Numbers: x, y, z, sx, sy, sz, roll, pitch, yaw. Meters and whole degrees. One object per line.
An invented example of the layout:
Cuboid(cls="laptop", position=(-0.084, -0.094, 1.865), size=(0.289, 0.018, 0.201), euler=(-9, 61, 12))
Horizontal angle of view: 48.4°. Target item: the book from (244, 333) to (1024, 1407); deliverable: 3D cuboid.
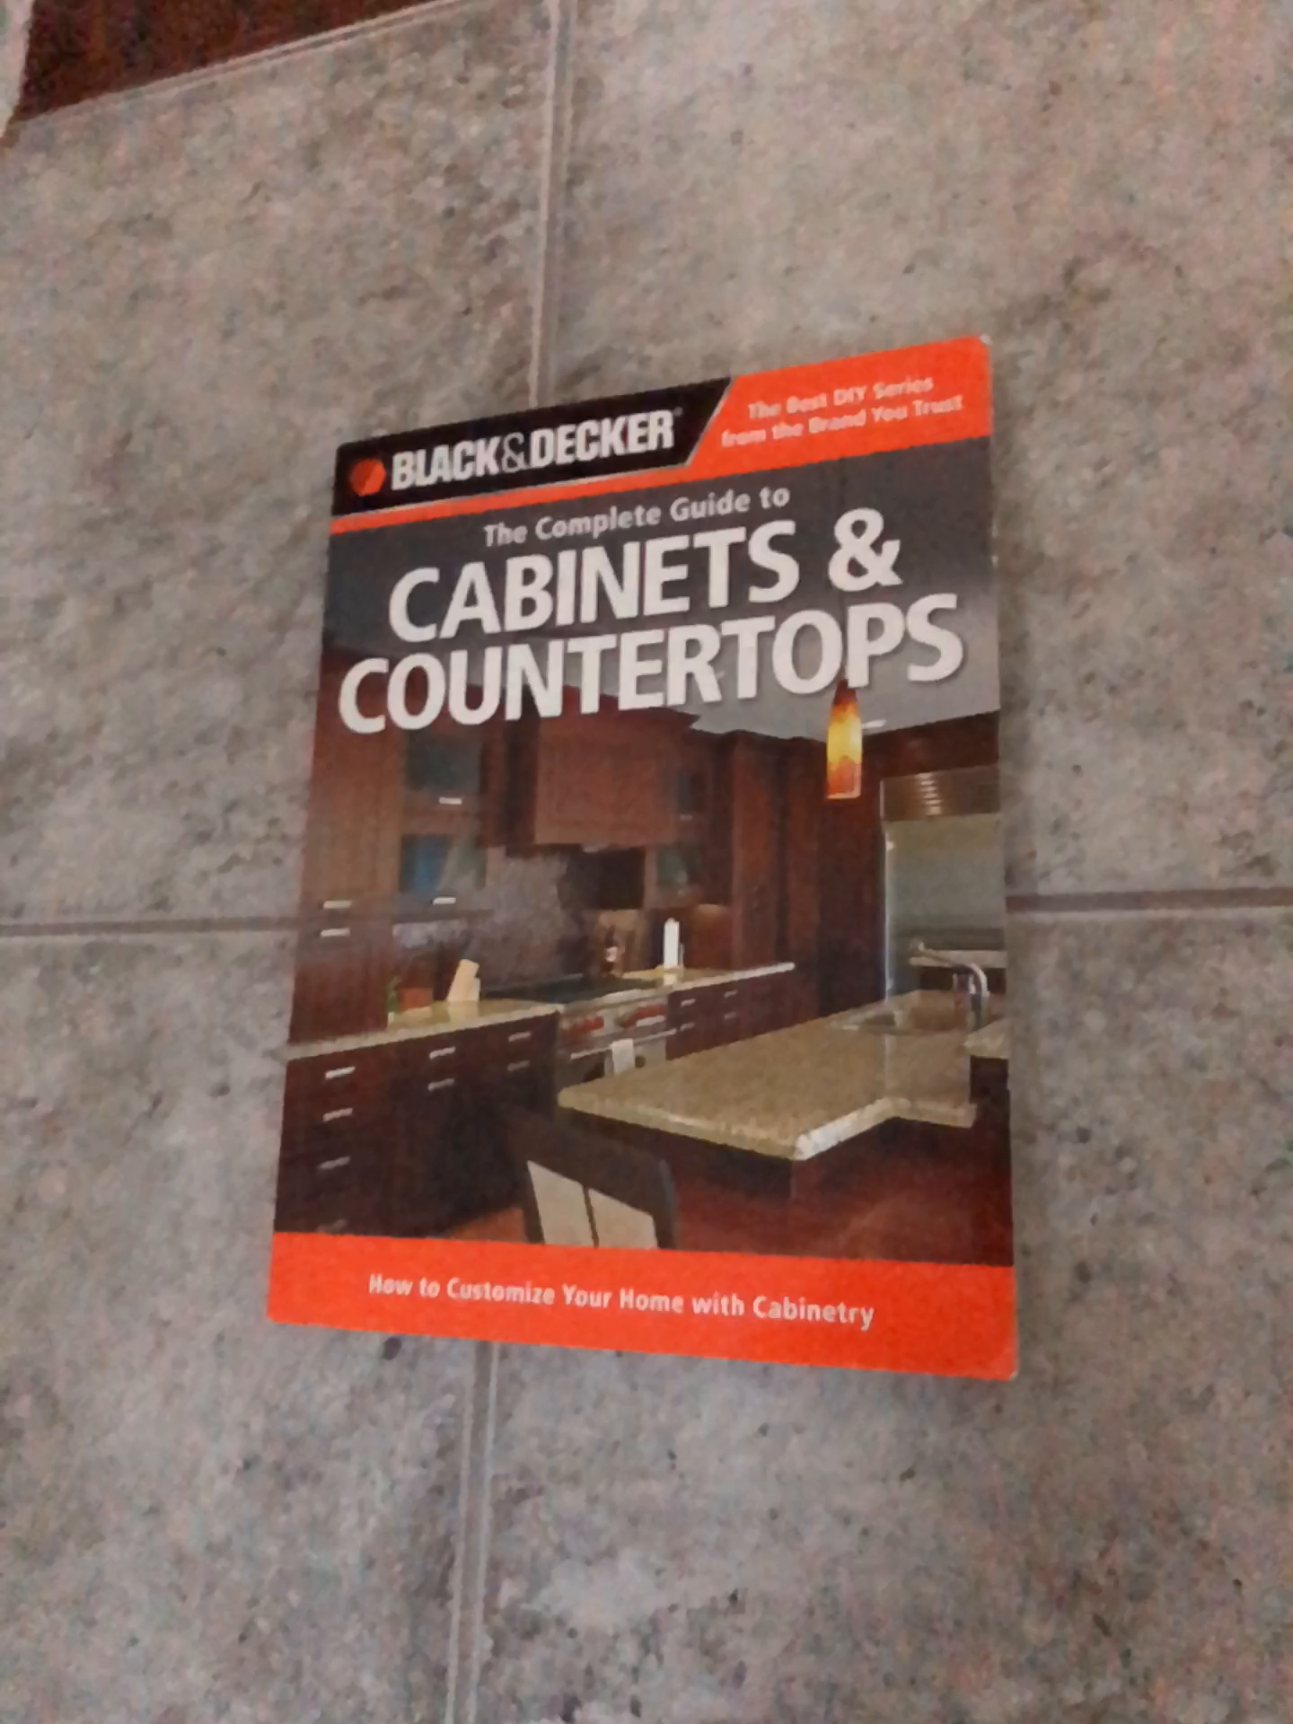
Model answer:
Cuboid(cls="book", position=(-0.005, -0.002, 0.416), size=(0.216, 0.022, 0.281), euler=(-3, 77, 21))
